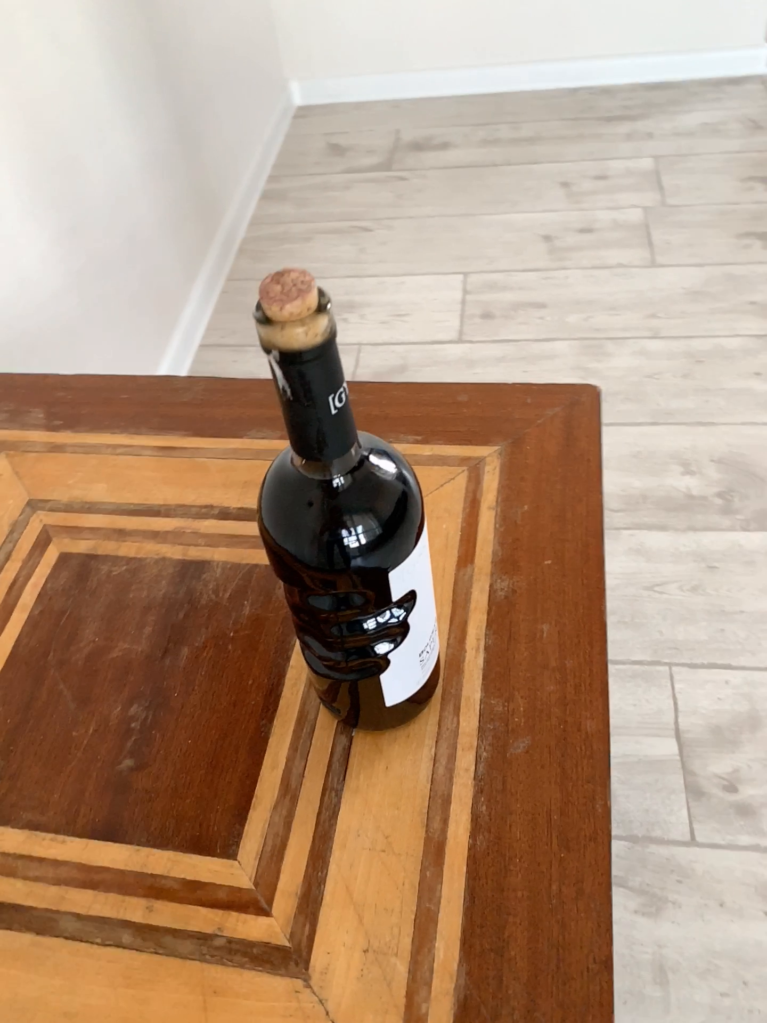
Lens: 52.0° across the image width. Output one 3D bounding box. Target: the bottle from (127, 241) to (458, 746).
[{"bbox_3d":[-0.020,0.012,0.390,0.090,0.269,0.090,-4,49,5],"label":"bottle"}]
